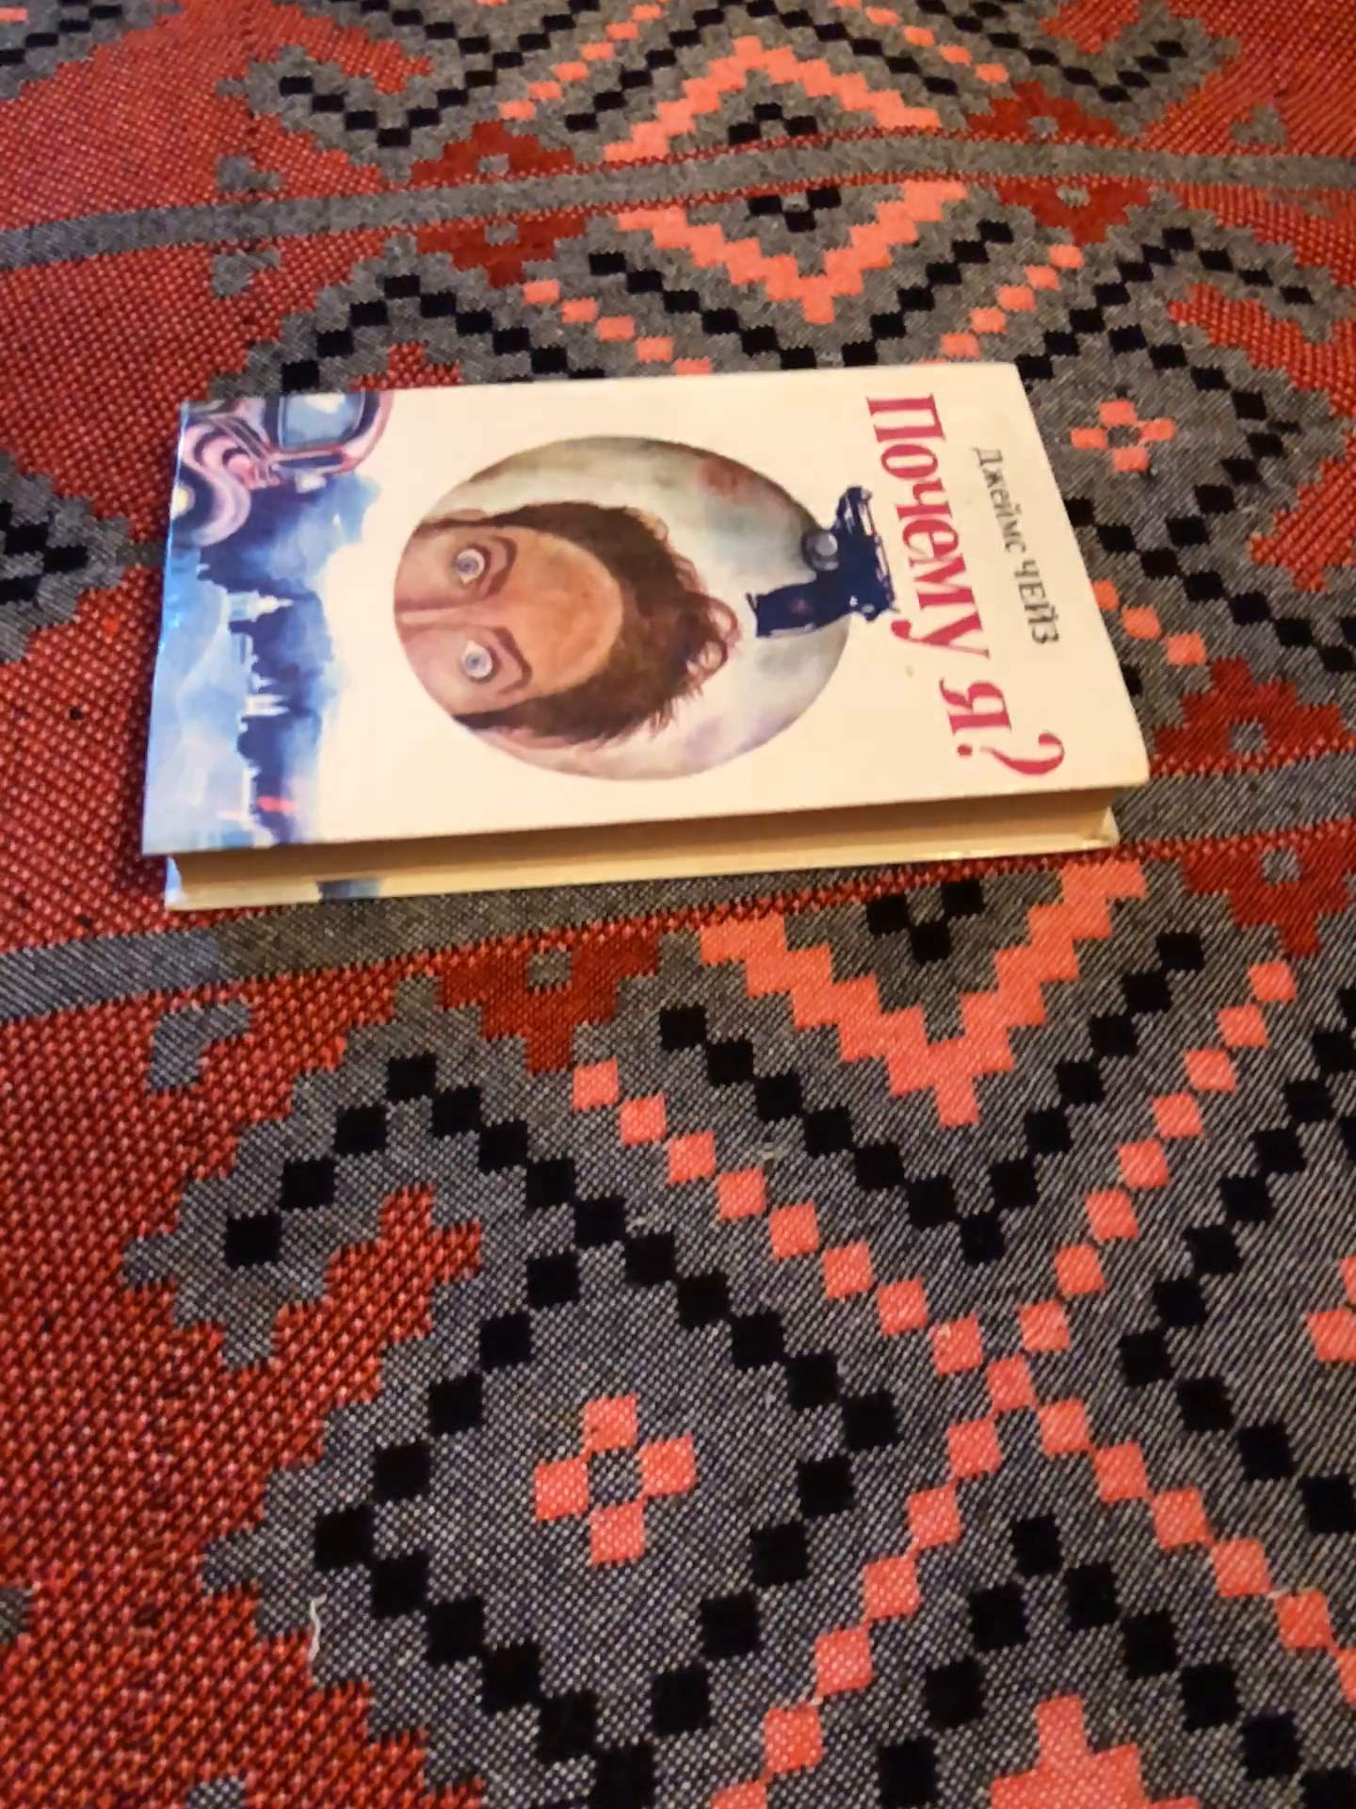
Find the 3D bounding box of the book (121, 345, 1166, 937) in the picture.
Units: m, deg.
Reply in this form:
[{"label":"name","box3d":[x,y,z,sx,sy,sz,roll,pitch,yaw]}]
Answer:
[{"label":"book","box3d":[-0.011,-0.065,0.339,0.204,0.029,0.134,-4,59,-5]}]
